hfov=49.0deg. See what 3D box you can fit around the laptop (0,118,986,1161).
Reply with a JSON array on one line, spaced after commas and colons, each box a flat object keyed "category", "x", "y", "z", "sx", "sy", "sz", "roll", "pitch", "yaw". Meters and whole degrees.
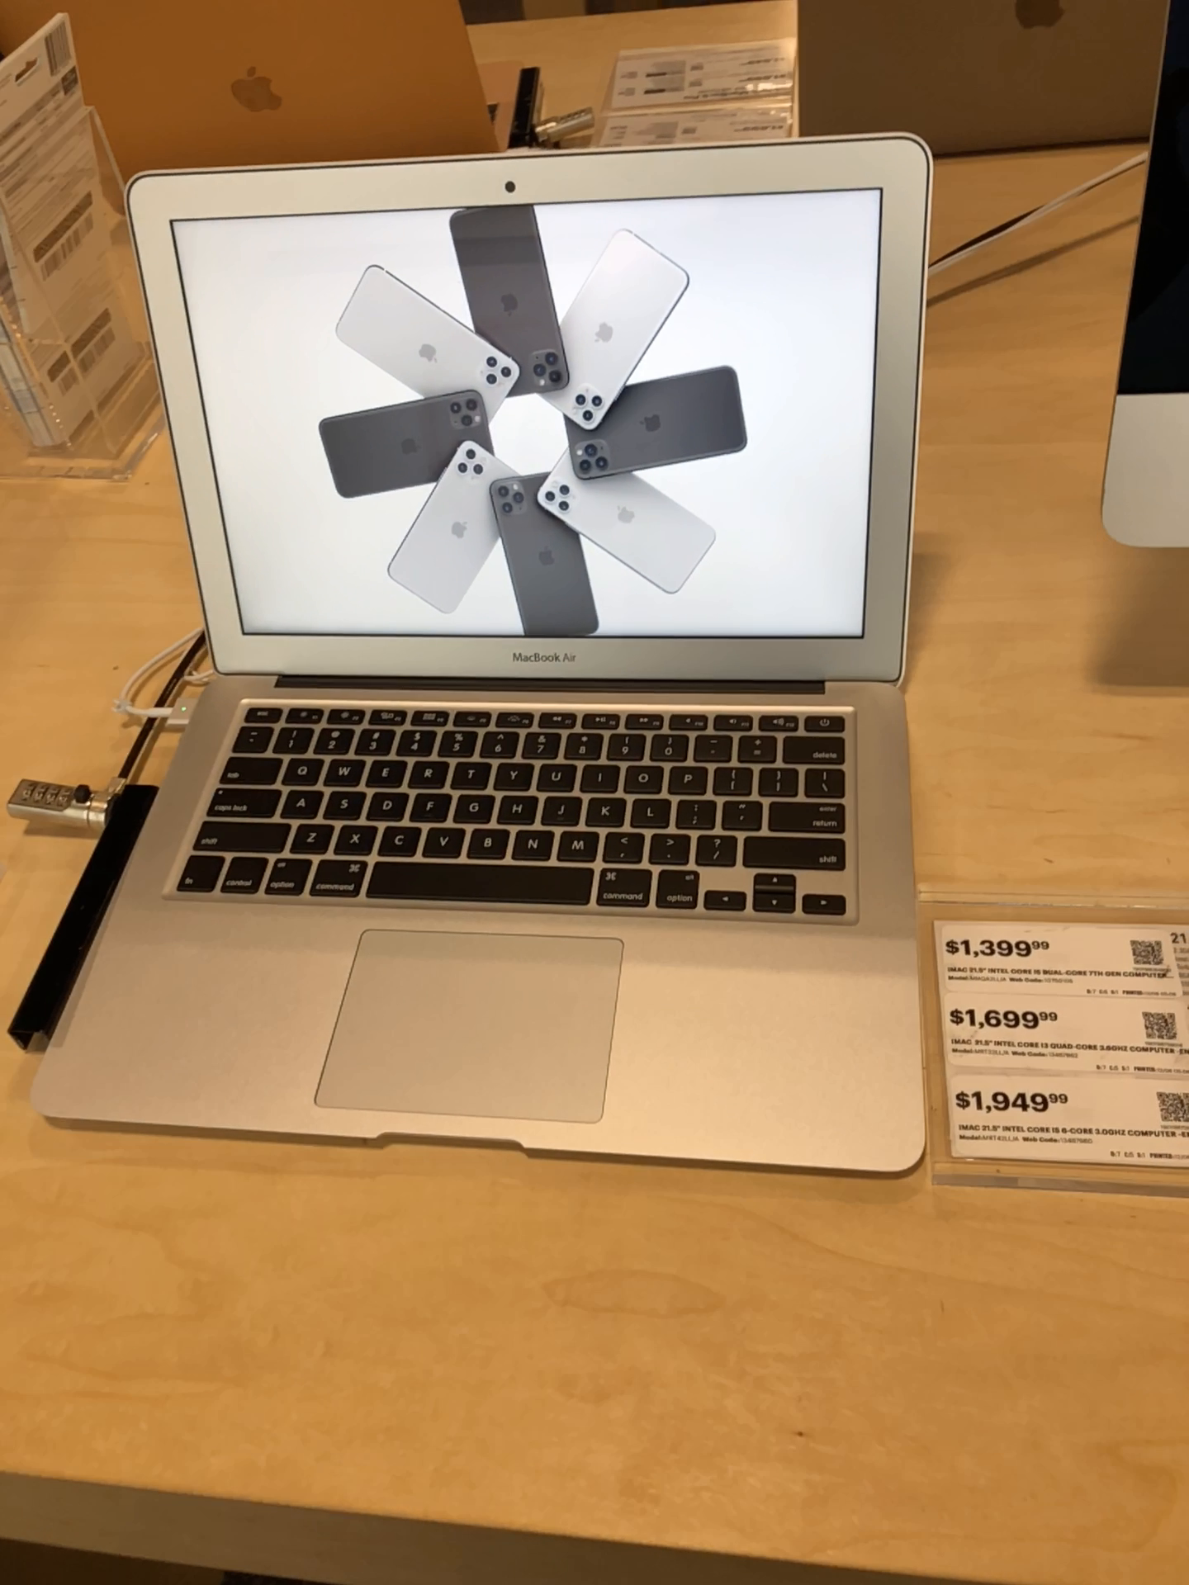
[{"category": "laptop", "x": -0.040, "y": -0.066, "z": 0.486, "sx": 0.324, "sy": 0.202, "sz": 0.310, "roll": 1, "pitch": 49, "yaw": 12}]
